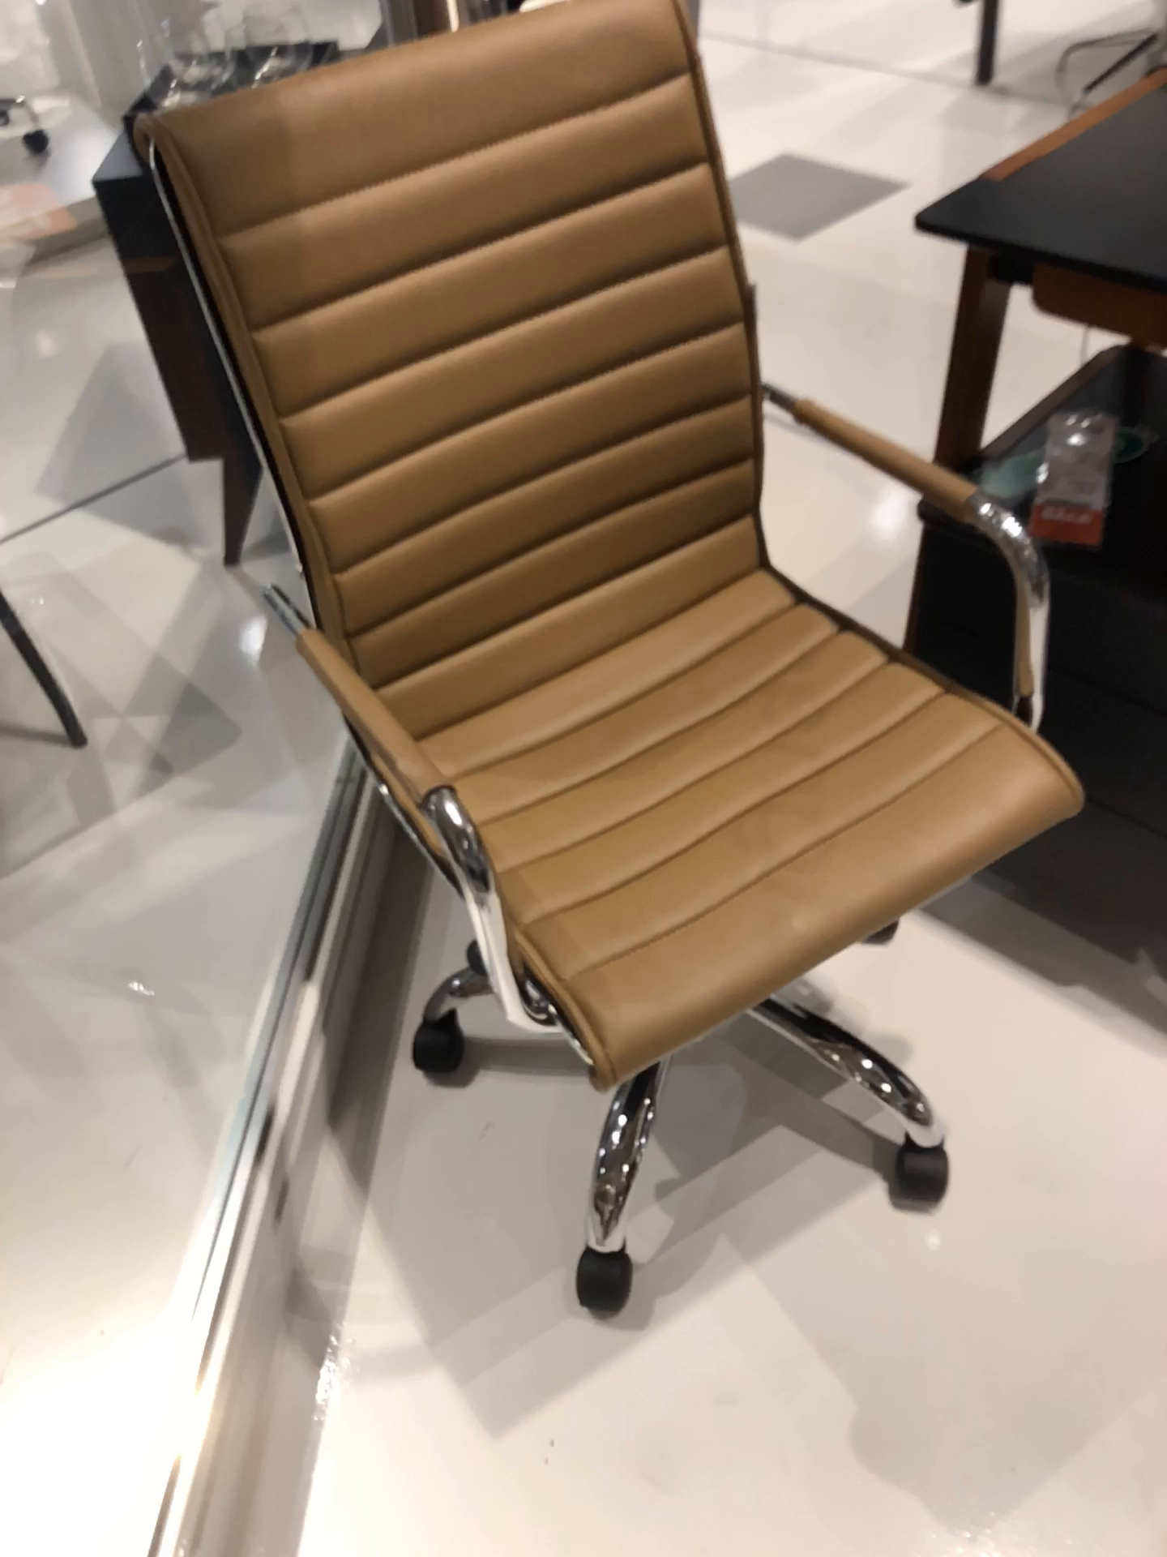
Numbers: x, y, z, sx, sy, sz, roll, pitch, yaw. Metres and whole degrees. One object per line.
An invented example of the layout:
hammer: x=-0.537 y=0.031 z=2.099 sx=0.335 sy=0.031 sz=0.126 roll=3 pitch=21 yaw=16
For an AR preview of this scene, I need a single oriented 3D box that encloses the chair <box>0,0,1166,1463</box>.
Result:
chair: x=0.061 y=-0.045 z=1.087 sx=0.601 sy=0.943 sz=0.614 roll=-26 pitch=46 yaw=-18
